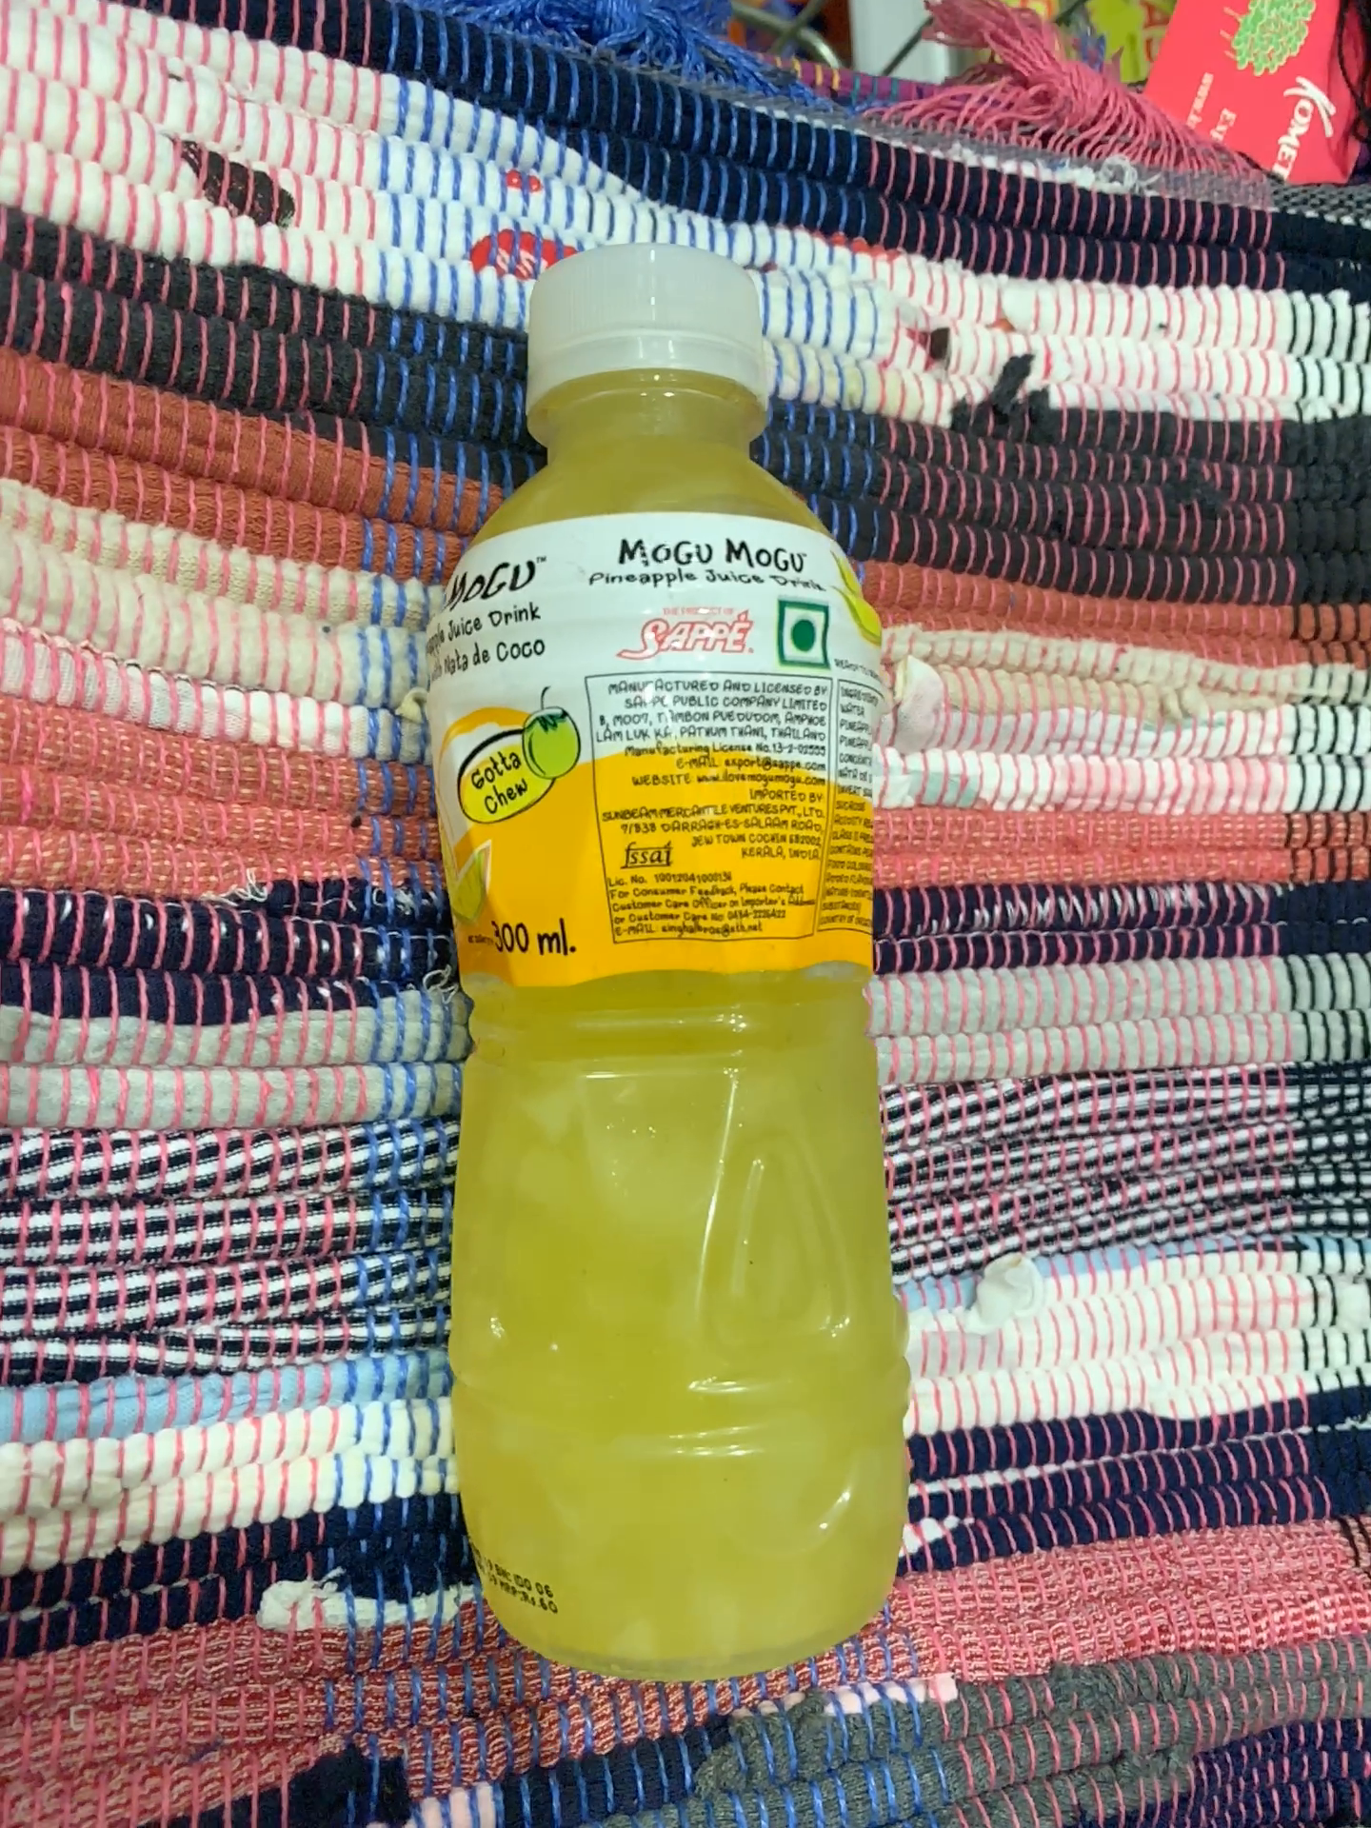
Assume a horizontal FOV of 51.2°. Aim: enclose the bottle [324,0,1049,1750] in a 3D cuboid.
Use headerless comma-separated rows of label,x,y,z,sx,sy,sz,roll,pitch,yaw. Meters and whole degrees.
bottle,-0.005,-0.011,0.184,0.060,0.050,0.190,-2,83,-26
